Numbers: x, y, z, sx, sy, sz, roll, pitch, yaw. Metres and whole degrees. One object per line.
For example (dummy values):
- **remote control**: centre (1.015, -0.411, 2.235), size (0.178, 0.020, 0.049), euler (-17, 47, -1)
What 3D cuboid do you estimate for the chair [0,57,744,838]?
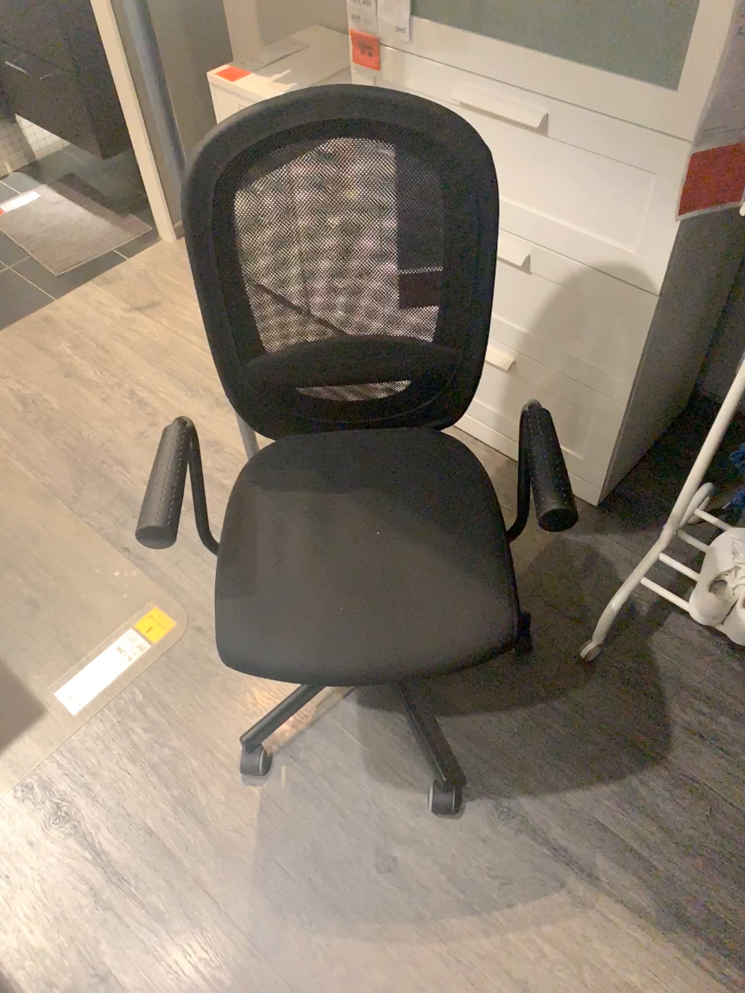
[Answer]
- **chair**: centre (0.013, 0.013, 1.160), size (0.640, 0.976, 0.682), euler (-3, 51, 2)
